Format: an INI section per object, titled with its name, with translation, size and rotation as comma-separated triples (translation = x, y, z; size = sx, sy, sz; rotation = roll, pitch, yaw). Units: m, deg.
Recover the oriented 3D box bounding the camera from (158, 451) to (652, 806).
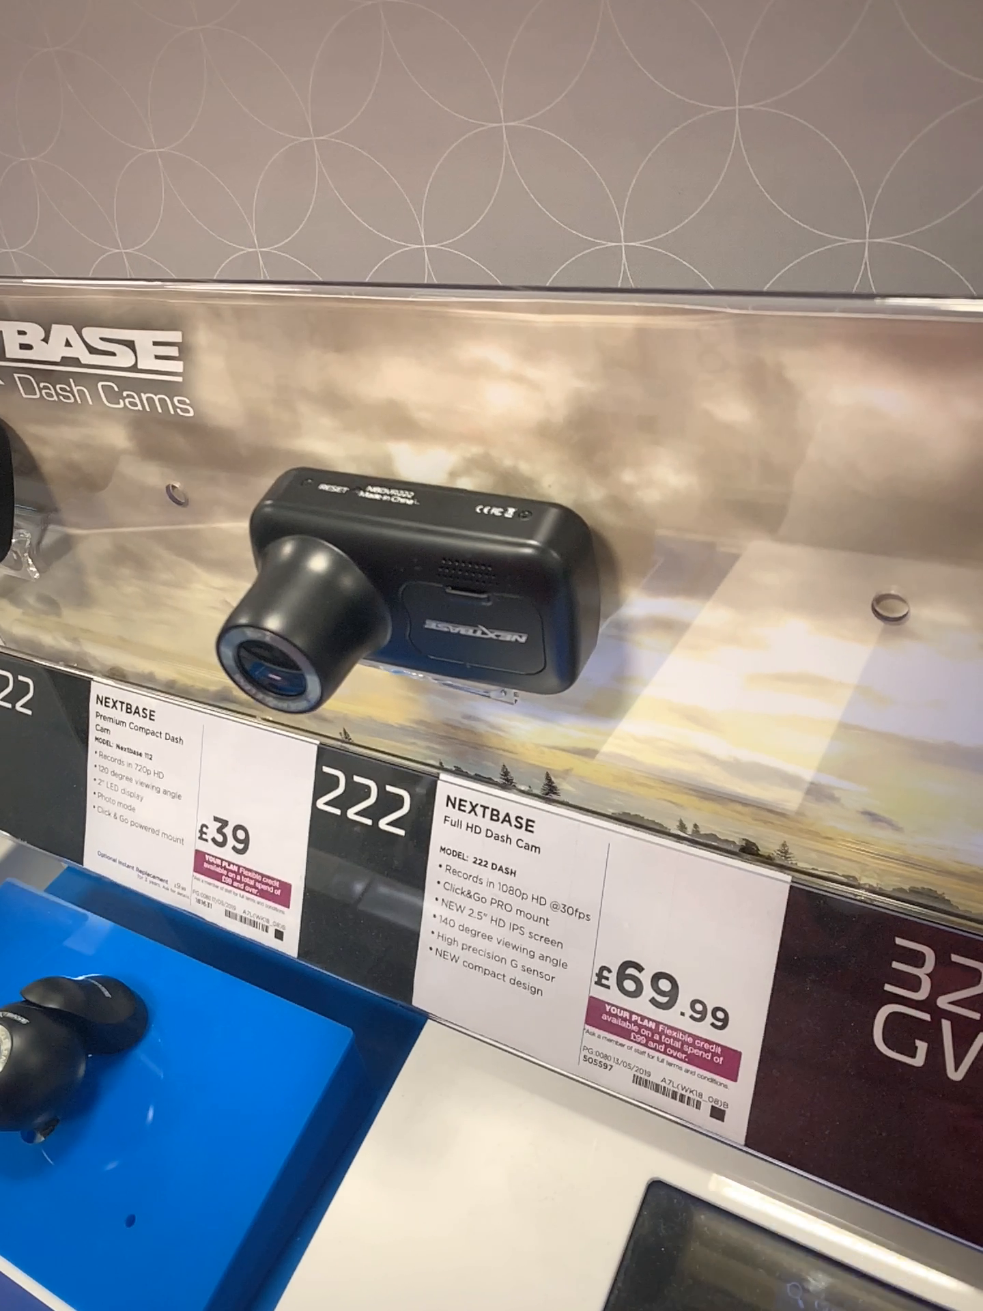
[camera]
translation = -0.017, -0.010, 0.224
size = 0.090, 0.040, 0.050
rotation = 13, 45, 26
